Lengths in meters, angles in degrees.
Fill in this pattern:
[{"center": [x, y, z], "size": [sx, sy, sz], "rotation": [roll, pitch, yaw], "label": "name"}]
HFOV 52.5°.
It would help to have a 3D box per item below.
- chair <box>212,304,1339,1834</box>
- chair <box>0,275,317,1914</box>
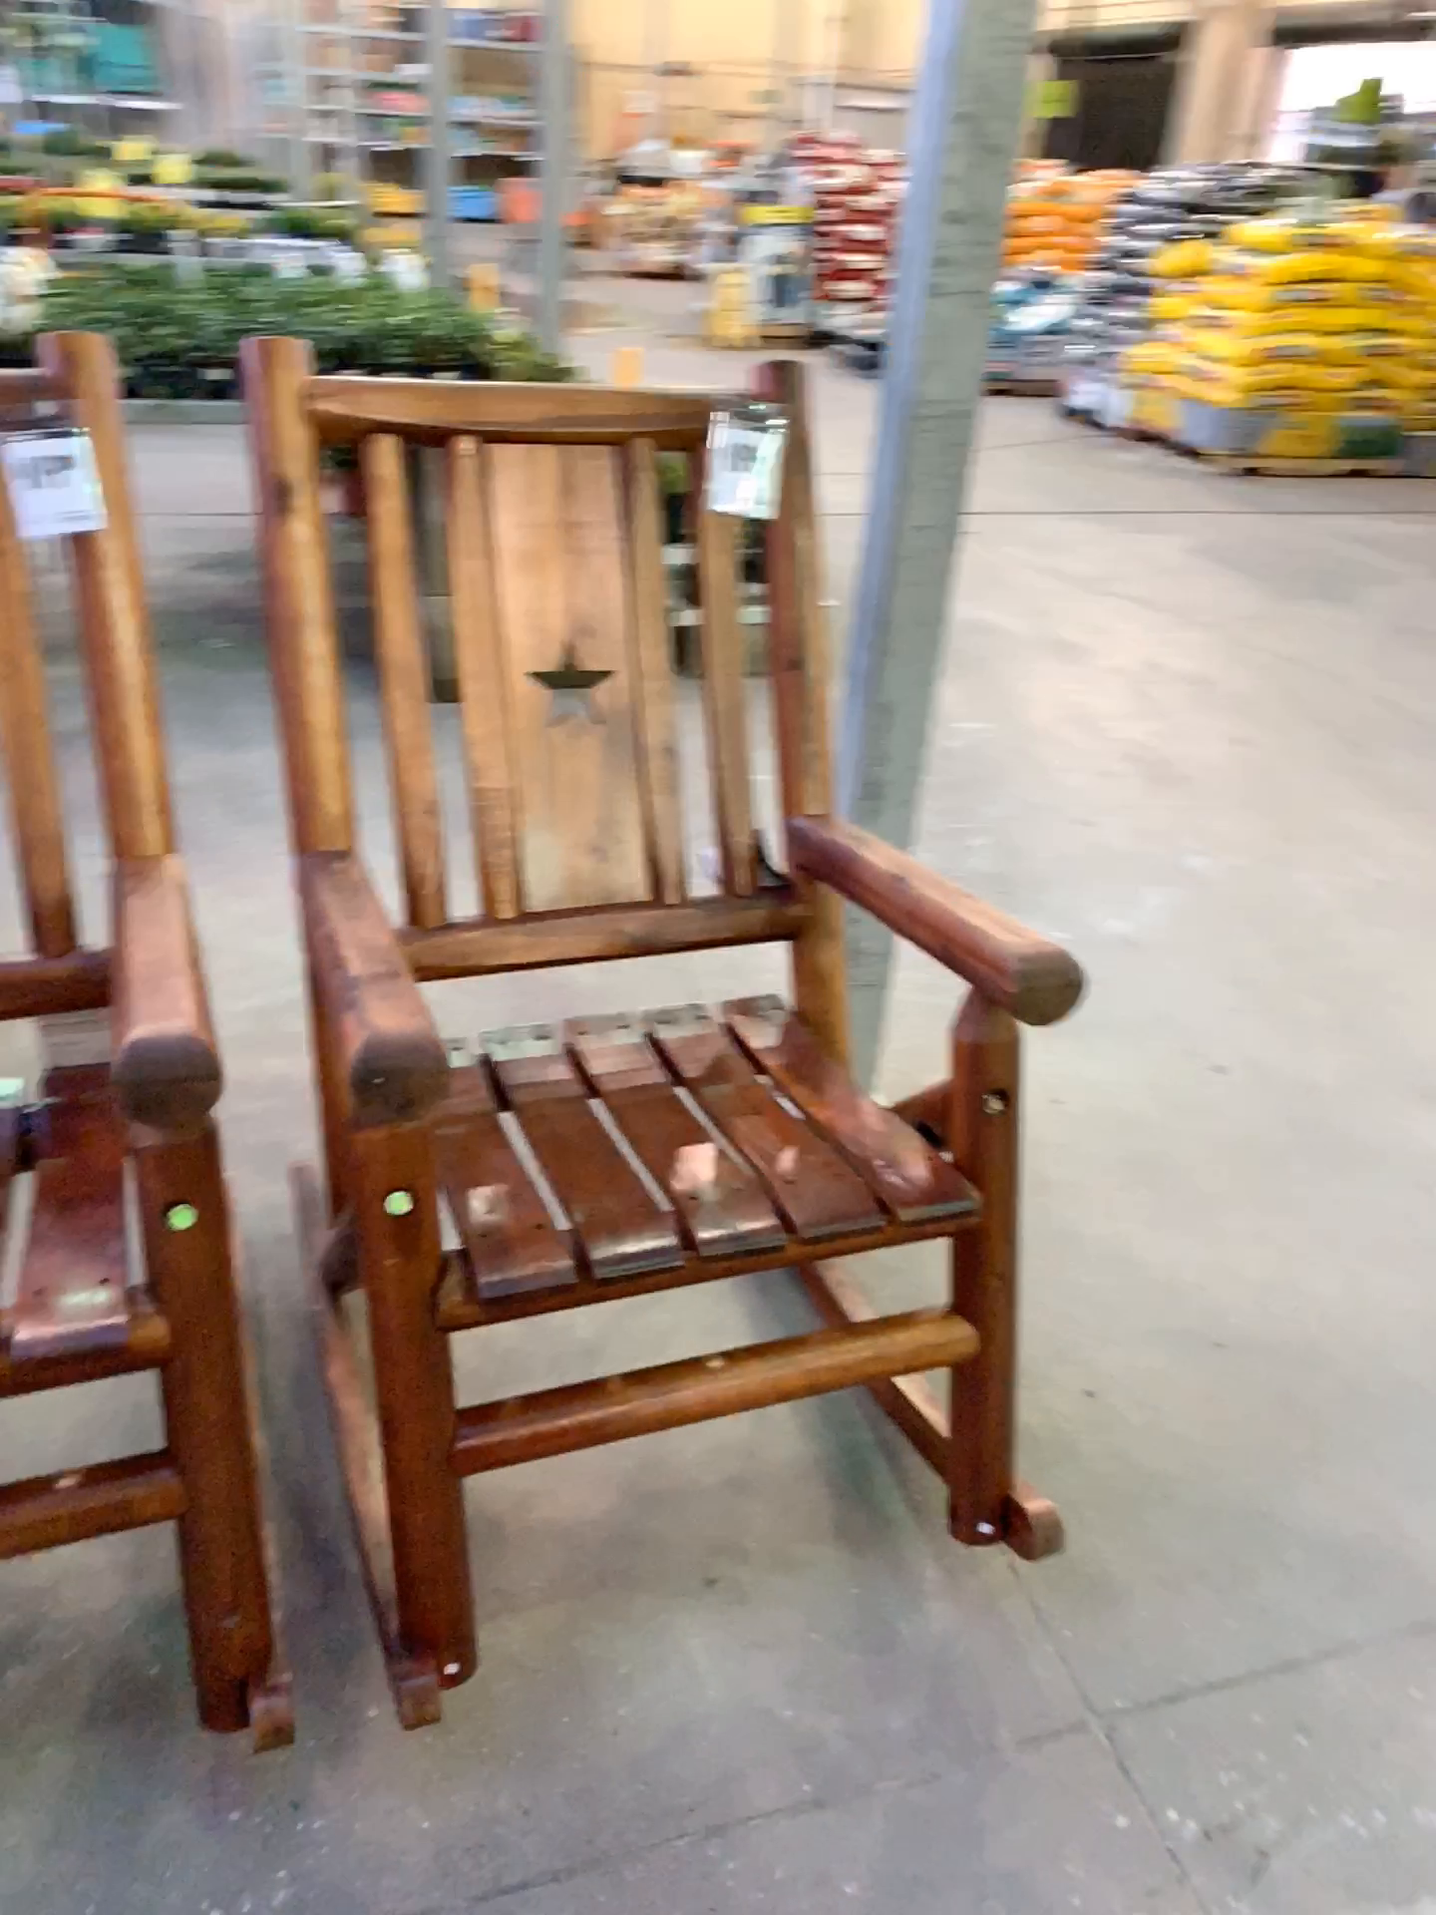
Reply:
[{"center": [-0.113, 0.004, 1.562], "size": [0.672, 1.157, 1.023], "rotation": [-6, 30, -19], "label": "chair"}, {"center": [-0.792, 0.083, 1.324], "size": [0.672, 1.157, 1.023], "rotation": [-5, 30, -19], "label": "chair"}]
